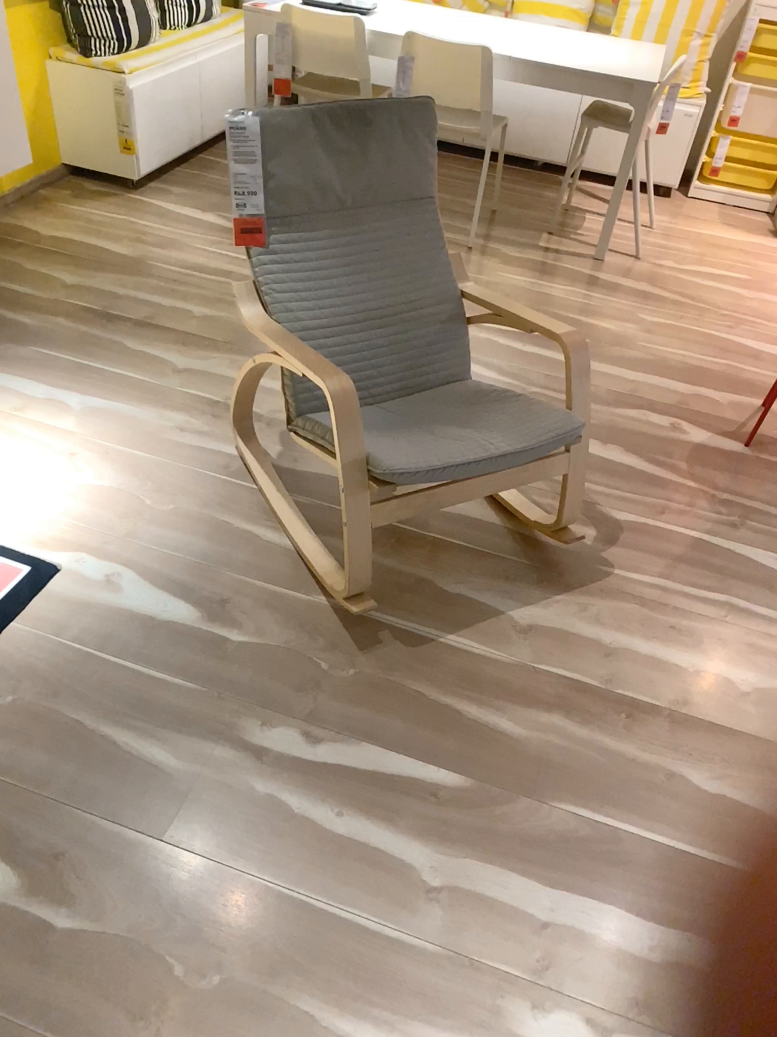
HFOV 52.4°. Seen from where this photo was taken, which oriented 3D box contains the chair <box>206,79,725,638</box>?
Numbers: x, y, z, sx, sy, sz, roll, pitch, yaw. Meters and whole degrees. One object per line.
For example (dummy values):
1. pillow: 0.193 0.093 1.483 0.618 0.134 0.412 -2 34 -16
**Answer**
1. chair: 0.075 -0.394 1.815 0.731 0.916 0.722 -16 47 -25
